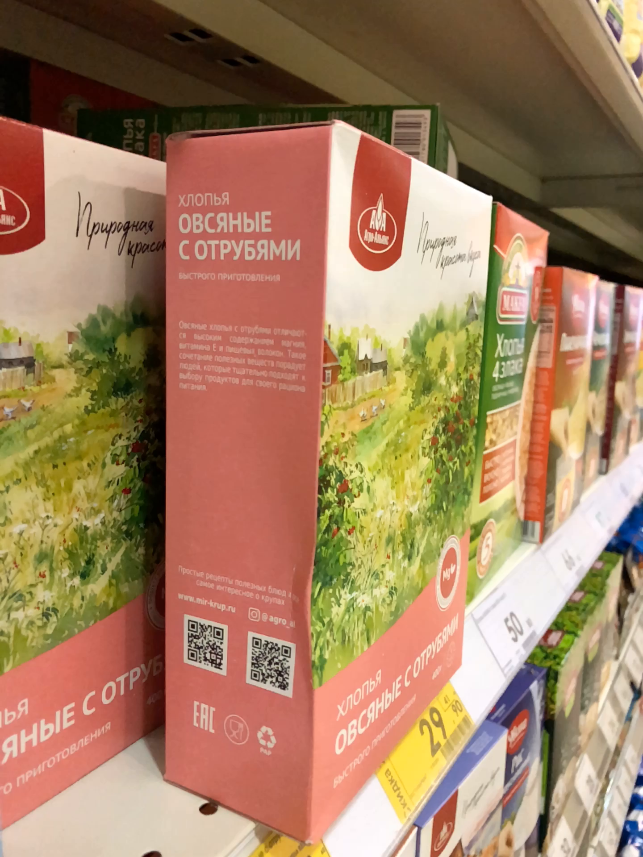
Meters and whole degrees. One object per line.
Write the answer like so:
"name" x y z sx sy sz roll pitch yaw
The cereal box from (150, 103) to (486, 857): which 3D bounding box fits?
"cereal box" 0.005 0.012 0.261 0.060 0.209 0.130 6 10 29
